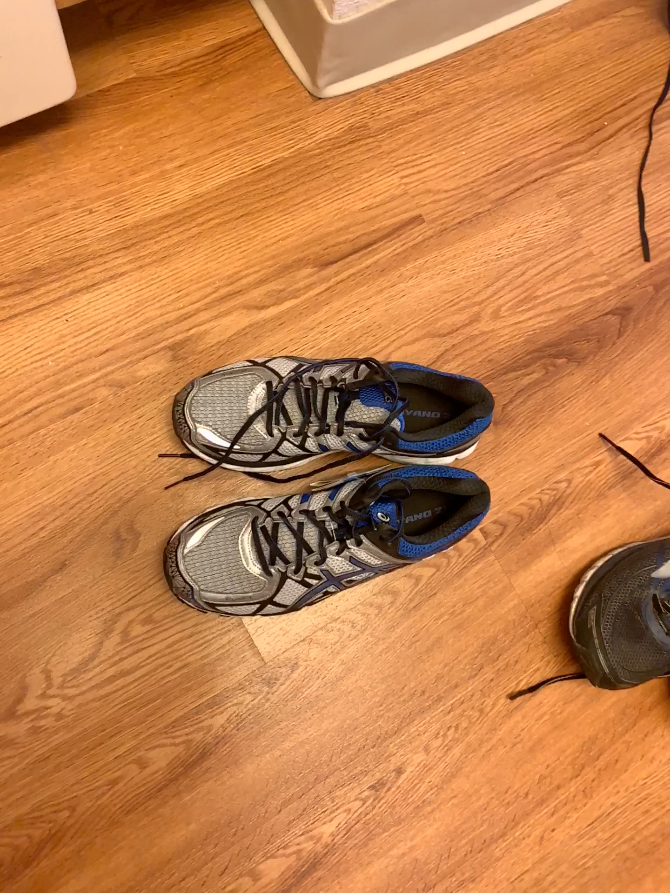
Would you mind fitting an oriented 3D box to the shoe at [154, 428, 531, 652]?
[{"bbox_3d":[0.001,0.081,0.615,0.290,0.130,0.110,-13,82,-12],"label":"shoe"}]

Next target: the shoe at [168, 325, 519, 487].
[{"bbox_3d":[0.000,-0.033,0.615,0.280,0.130,0.110,-2,80,-10],"label":"shoe"}]
